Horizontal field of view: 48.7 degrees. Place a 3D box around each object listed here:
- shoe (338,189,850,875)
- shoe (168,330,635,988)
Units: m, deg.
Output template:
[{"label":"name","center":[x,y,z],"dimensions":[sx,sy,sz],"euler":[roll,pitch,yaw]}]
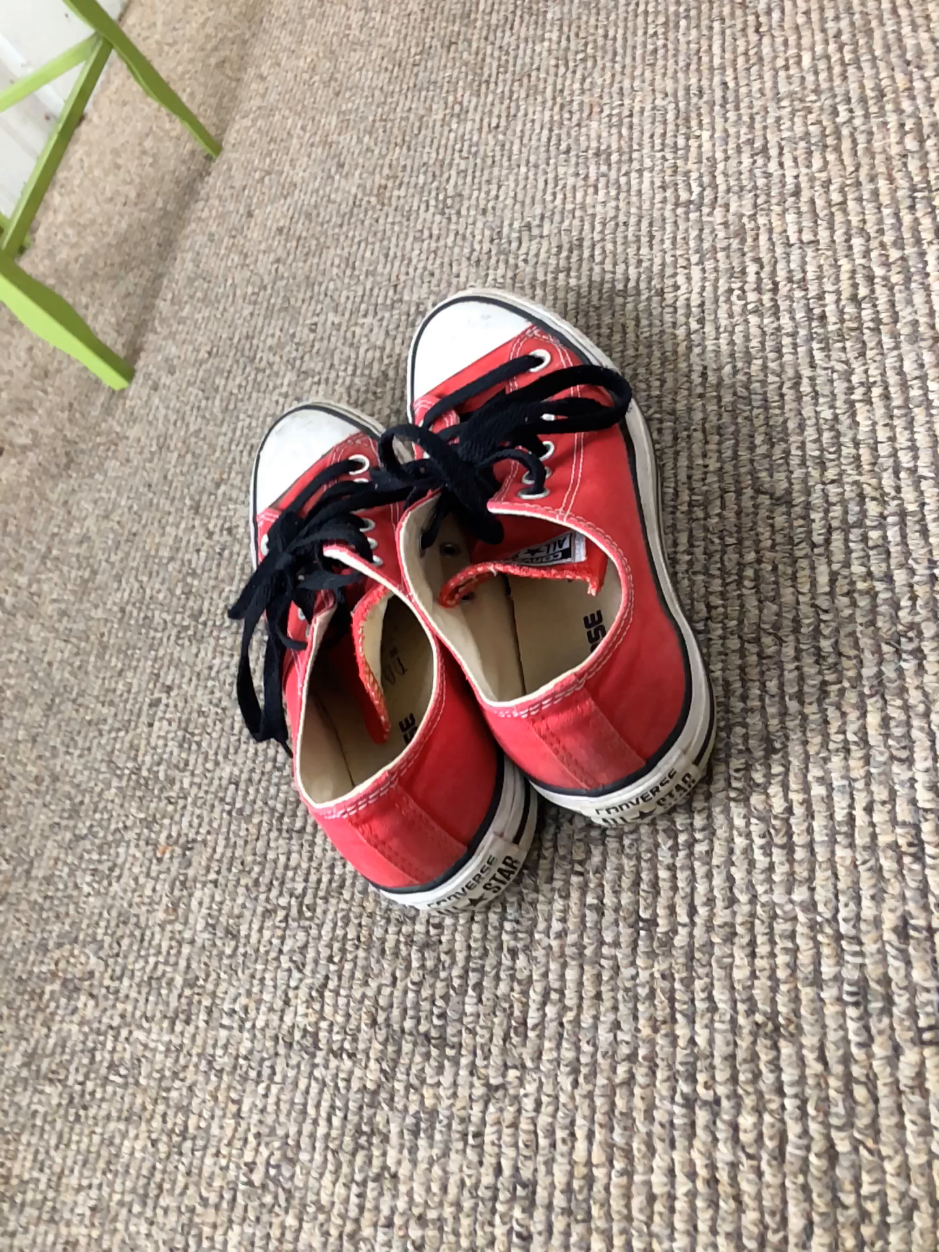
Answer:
[{"label":"shoe","center":[0.033,-0.051,0.414],"dimensions":[0.102,0.088,0.260],"euler":[-31,47,15]},{"label":"shoe","center":[-0.044,0.001,0.448],"dimensions":[0.102,0.096,0.263],"euler":[-35,47,12]}]
